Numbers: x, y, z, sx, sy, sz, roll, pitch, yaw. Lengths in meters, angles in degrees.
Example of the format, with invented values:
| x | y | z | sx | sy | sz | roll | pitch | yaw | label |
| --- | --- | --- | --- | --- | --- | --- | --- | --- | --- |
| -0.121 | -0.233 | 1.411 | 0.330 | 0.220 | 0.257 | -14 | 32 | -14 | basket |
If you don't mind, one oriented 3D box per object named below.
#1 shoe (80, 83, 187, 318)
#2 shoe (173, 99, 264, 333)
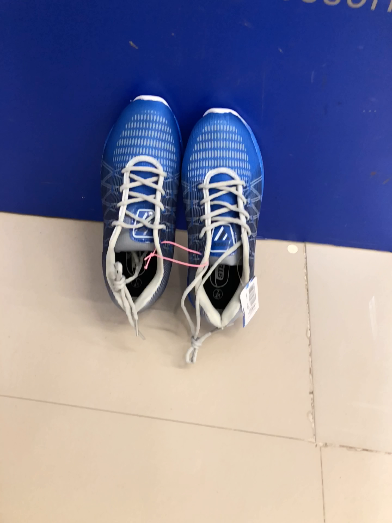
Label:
| x | y | z | sx | sy | sz | roll | pitch | yaw | label |
| --- | --- | --- | --- | --- | --- | --- | --- | --- | --- |
| -0.078 | -0.074 | 0.565 | 0.110 | 0.270 | 0.100 | 4 | 8 | -3 | shoe |
| 0.027 | -0.055 | 0.563 | 0.100 | 0.120 | 0.270 | 1 | 93 | 1 | shoe |
